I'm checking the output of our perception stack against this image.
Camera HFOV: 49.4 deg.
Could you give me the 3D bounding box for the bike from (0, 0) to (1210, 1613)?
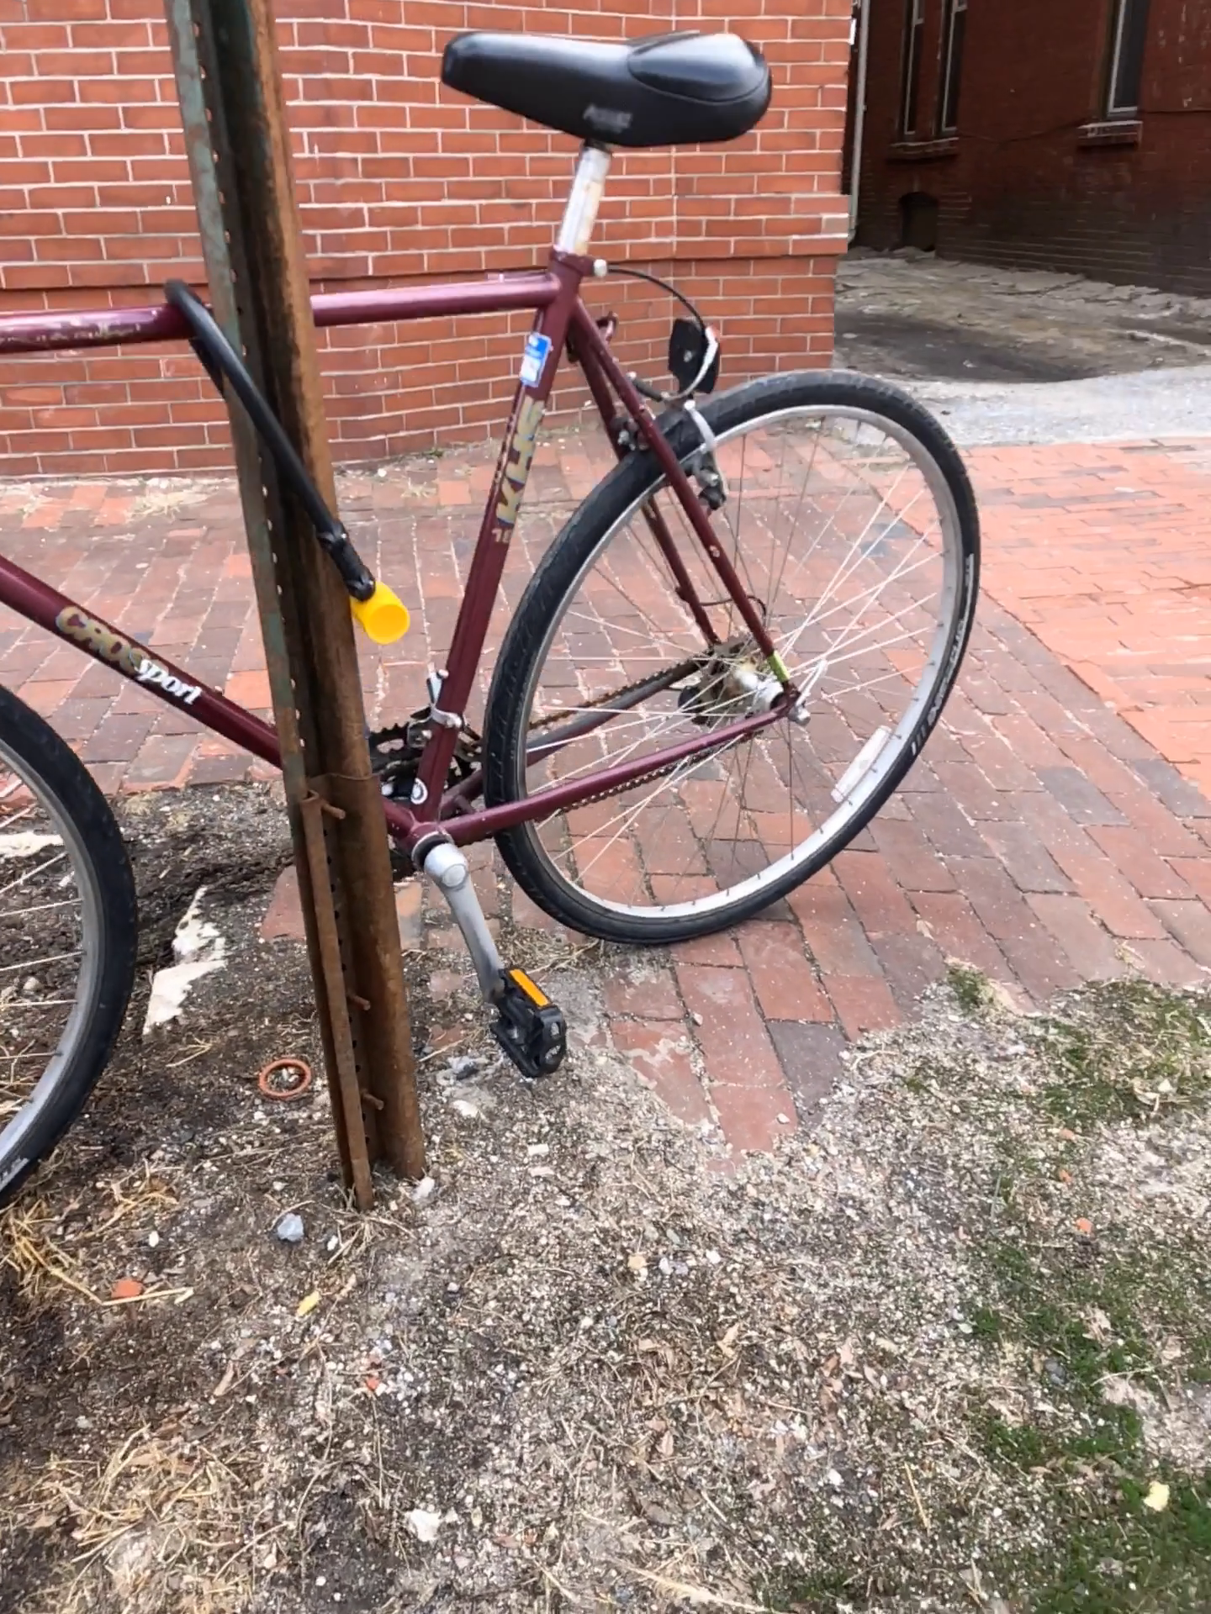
[{"bbox_3d":[-0.206,-0.115,1.105,1.731,1.012,0.669,-18,29,-32],"label":"bike"}]
